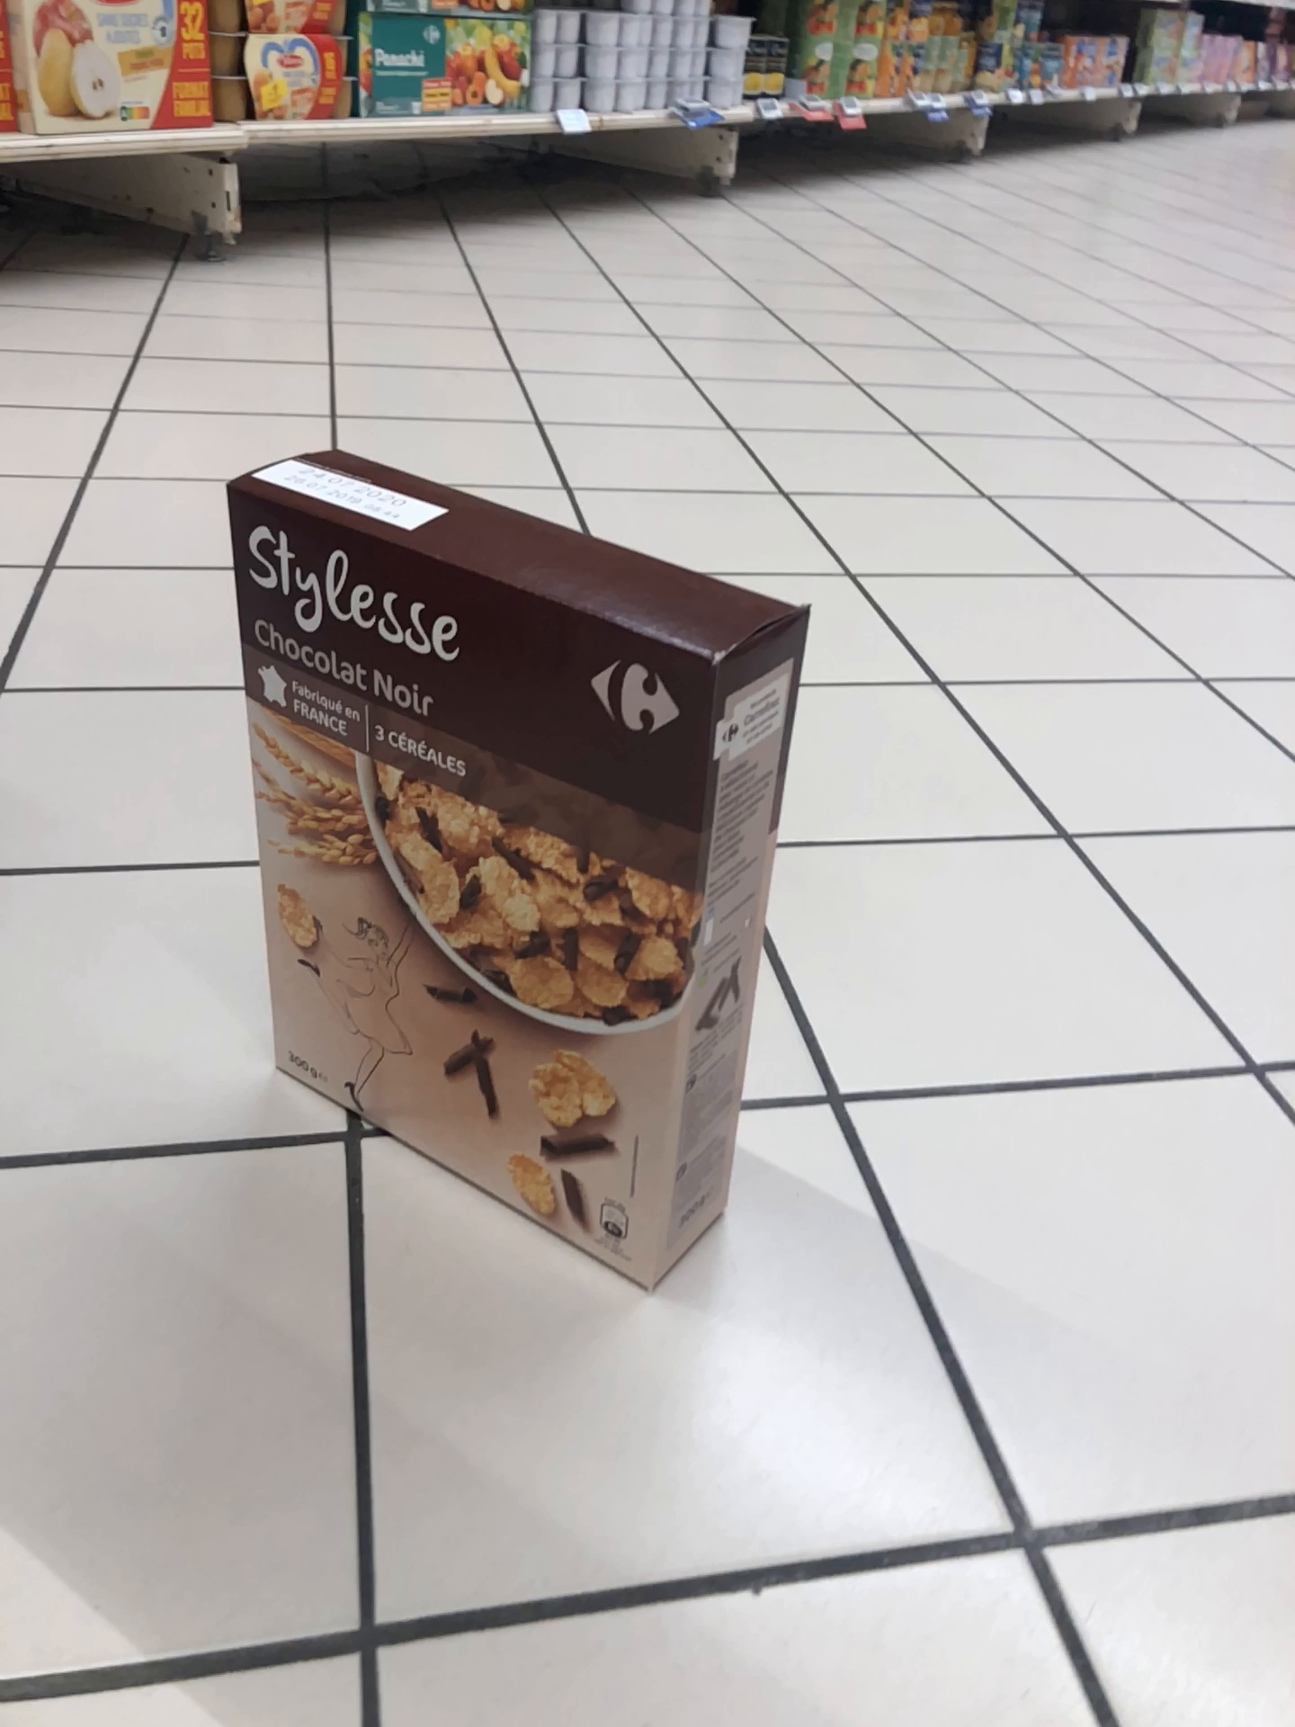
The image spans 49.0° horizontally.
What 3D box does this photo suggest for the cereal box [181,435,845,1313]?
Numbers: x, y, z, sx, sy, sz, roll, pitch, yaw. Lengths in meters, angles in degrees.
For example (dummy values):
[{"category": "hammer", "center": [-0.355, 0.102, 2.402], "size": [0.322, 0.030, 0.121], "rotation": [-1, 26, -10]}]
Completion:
[{"category": "cereal box", "center": [-0.054, 0.001, 0.489], "size": [0.200, 0.239, 0.070], "rotation": [24, 36, 27]}]
